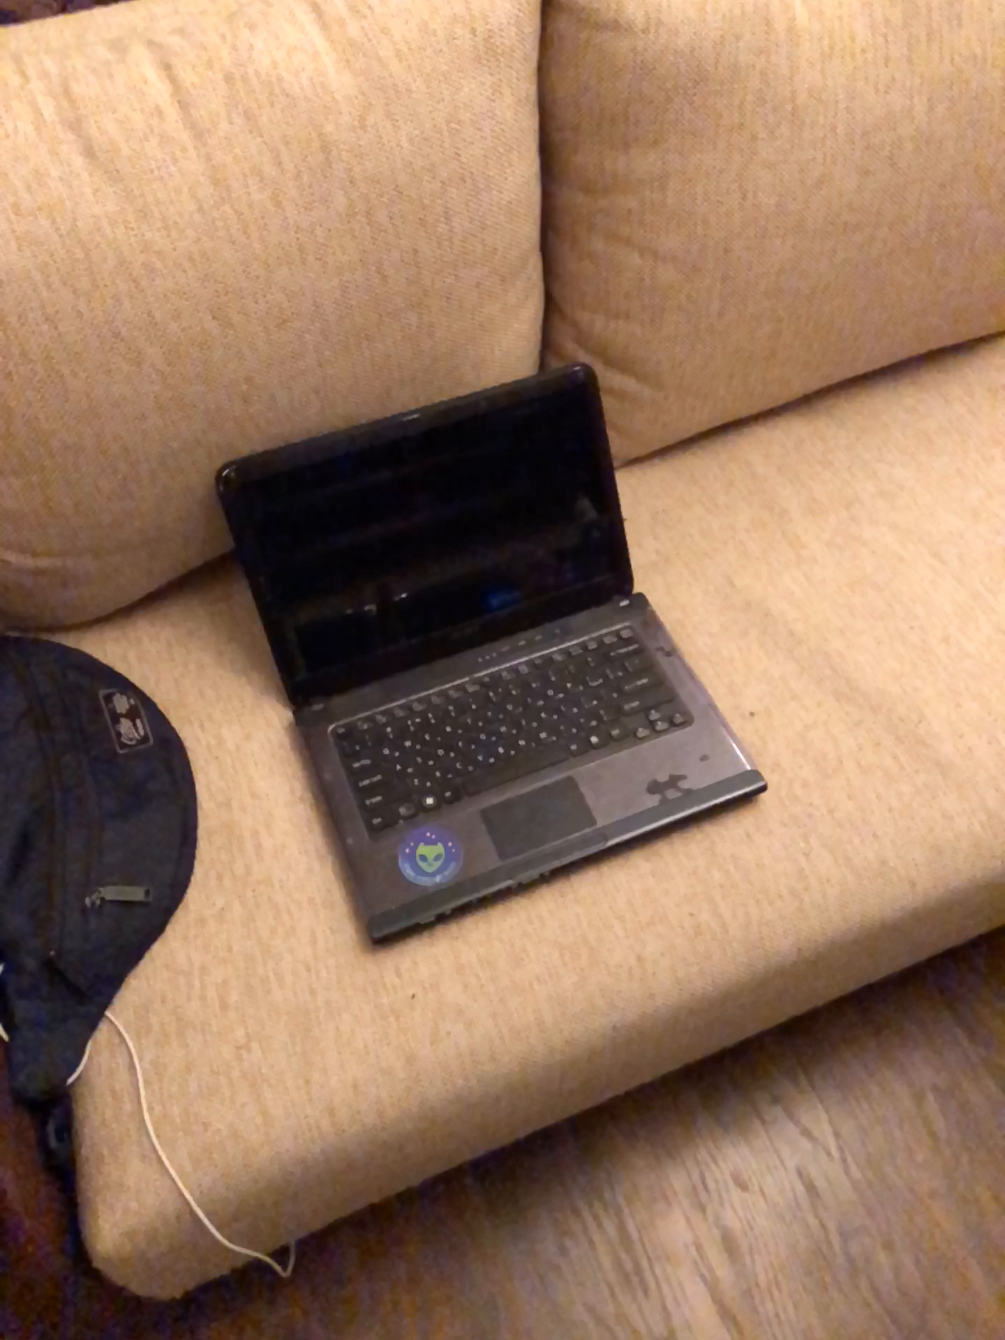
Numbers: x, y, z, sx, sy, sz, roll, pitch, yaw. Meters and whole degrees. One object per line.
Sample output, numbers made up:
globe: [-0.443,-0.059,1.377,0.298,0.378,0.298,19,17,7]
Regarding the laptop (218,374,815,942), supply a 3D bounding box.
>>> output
laptop: [-0.006,-0.026,0.904,0.338,0.174,0.350,-19,56,-12]
